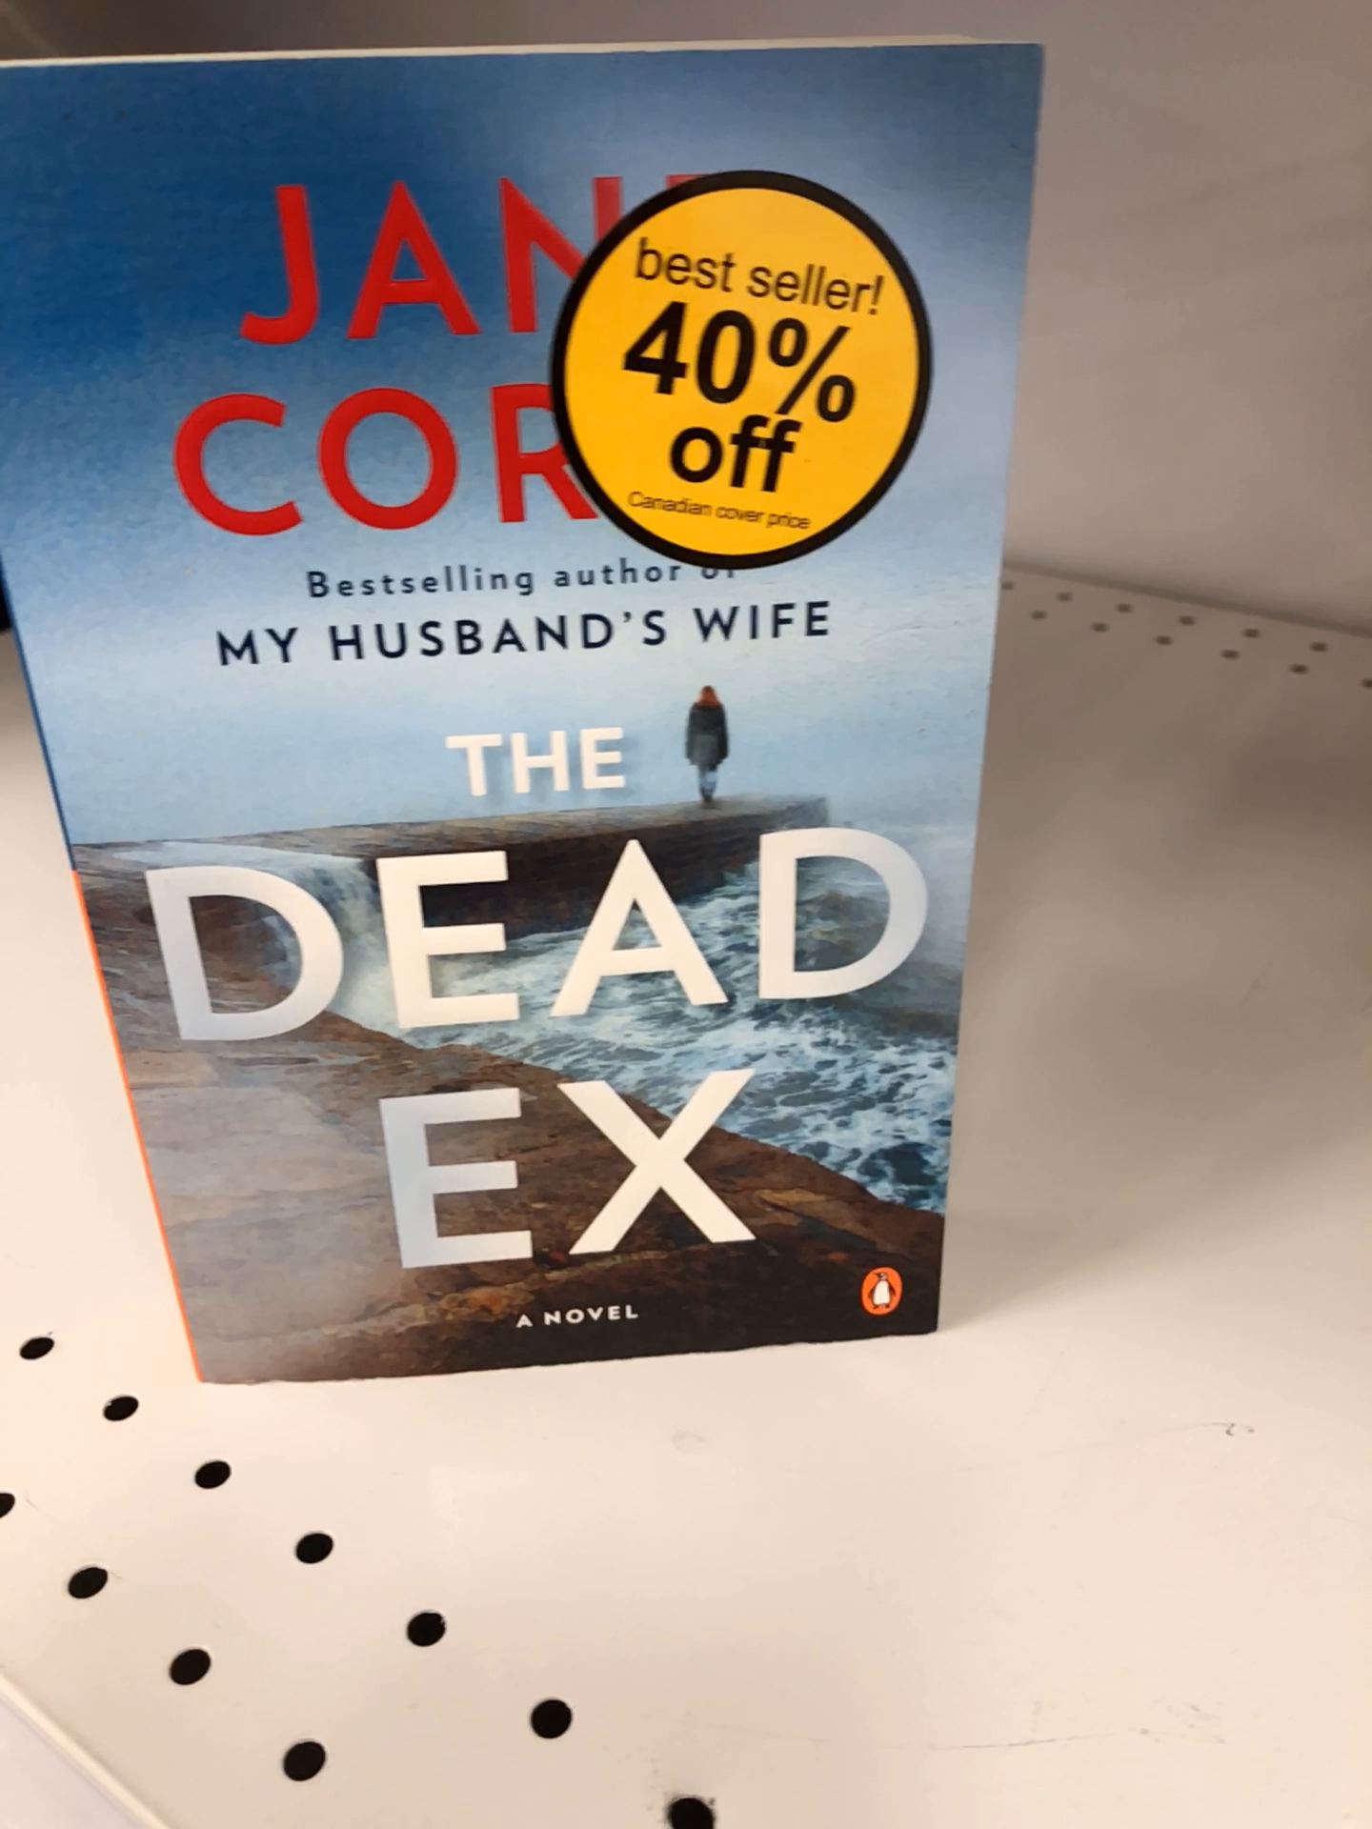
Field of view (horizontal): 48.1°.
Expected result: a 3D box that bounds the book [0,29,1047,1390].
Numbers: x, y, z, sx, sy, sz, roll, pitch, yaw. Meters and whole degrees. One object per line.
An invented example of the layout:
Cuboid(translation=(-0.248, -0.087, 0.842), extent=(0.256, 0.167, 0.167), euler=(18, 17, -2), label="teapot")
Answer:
Cuboid(translation=(-0.027, -0.019, 0.249), extent=(0.146, 0.211, 0.040), euler=(-4, 30, -2), label="book")
